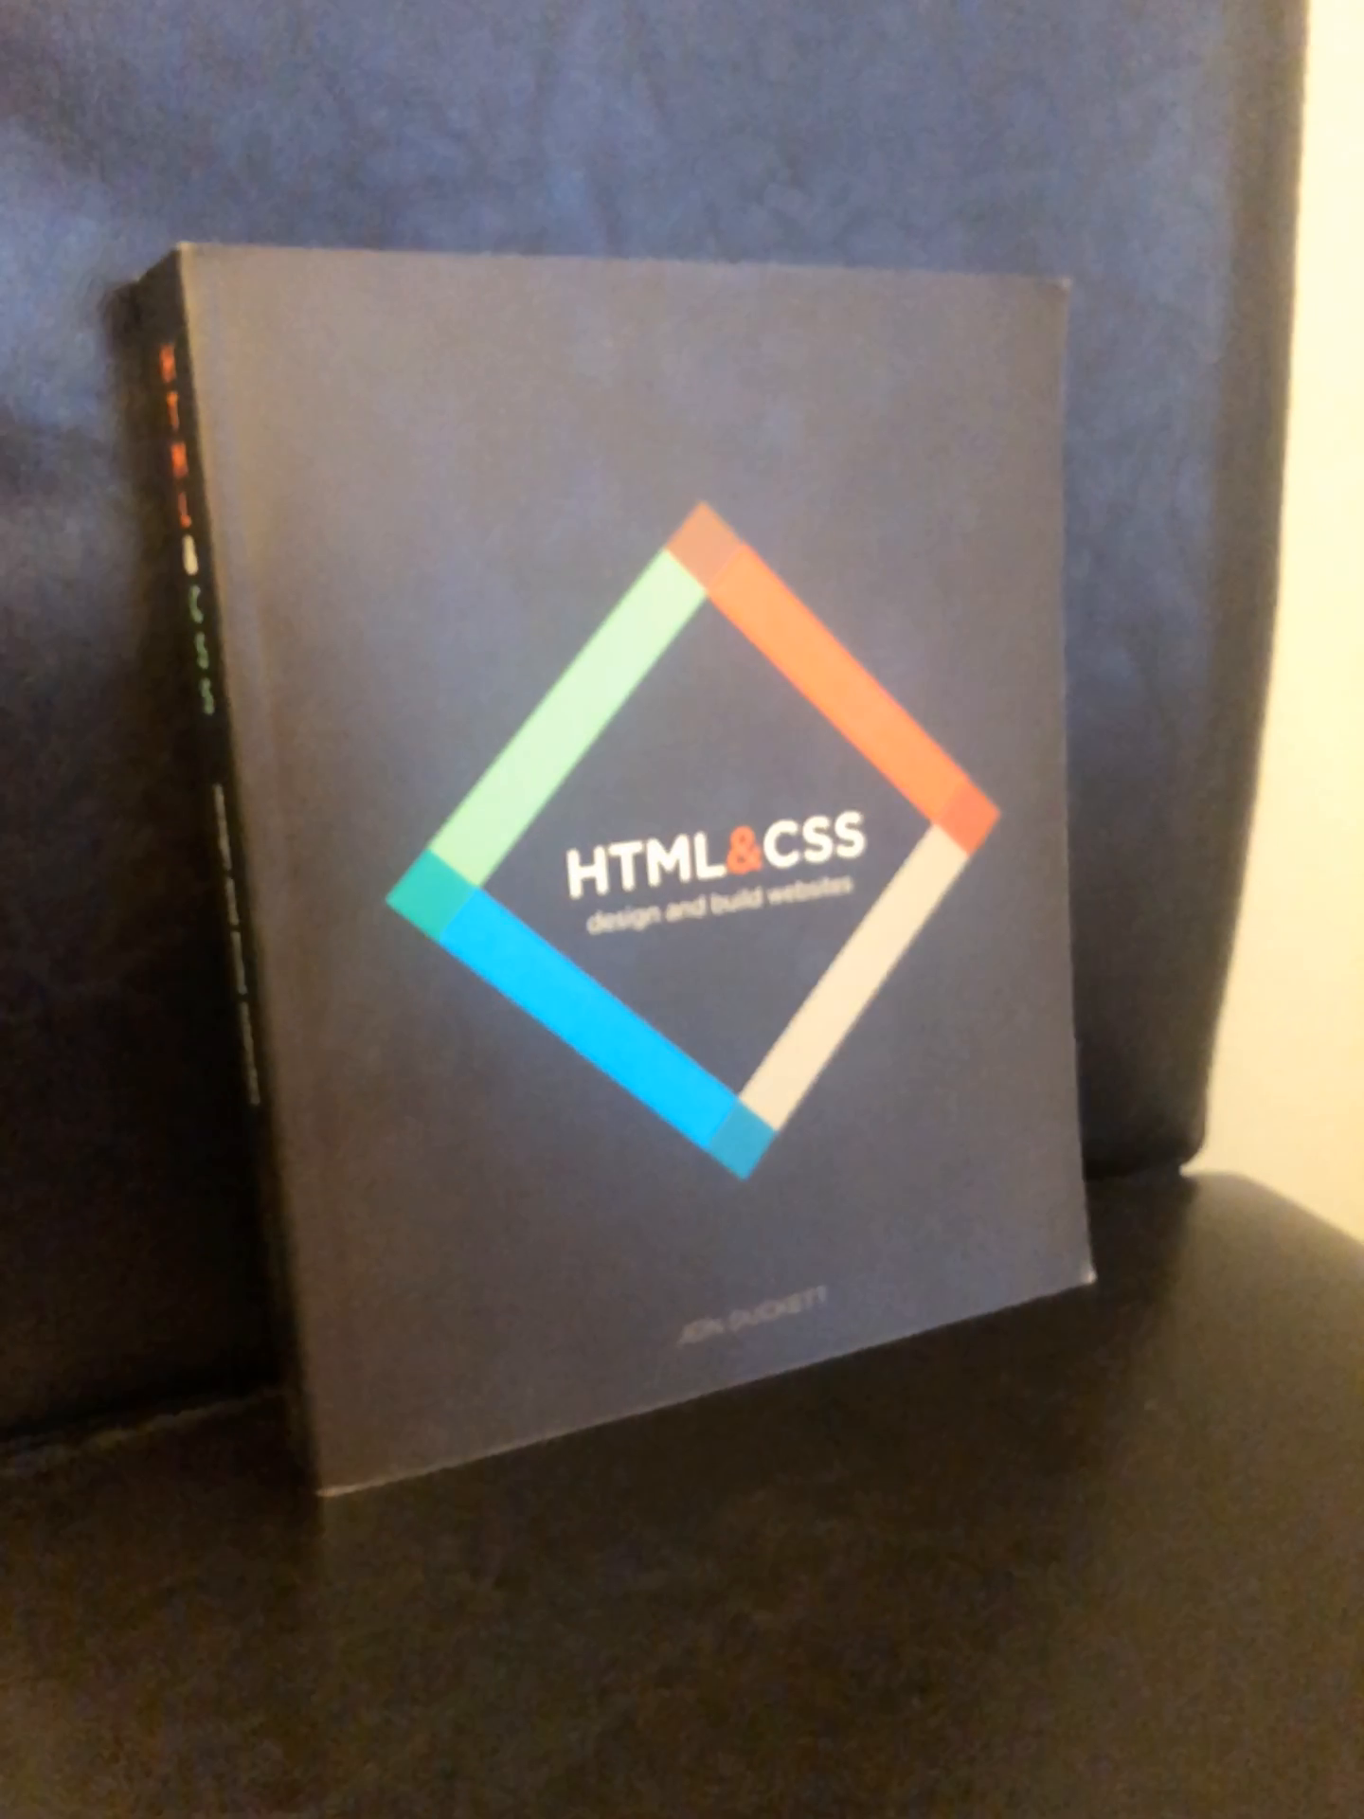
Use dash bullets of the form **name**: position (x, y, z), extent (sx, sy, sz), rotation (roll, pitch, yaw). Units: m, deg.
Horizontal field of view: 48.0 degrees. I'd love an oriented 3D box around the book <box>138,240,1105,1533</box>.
- **book**: position (0.002, -0.011, 0.321), extent (0.189, 0.231, 0.030), rotation (-9, 11, -24)
